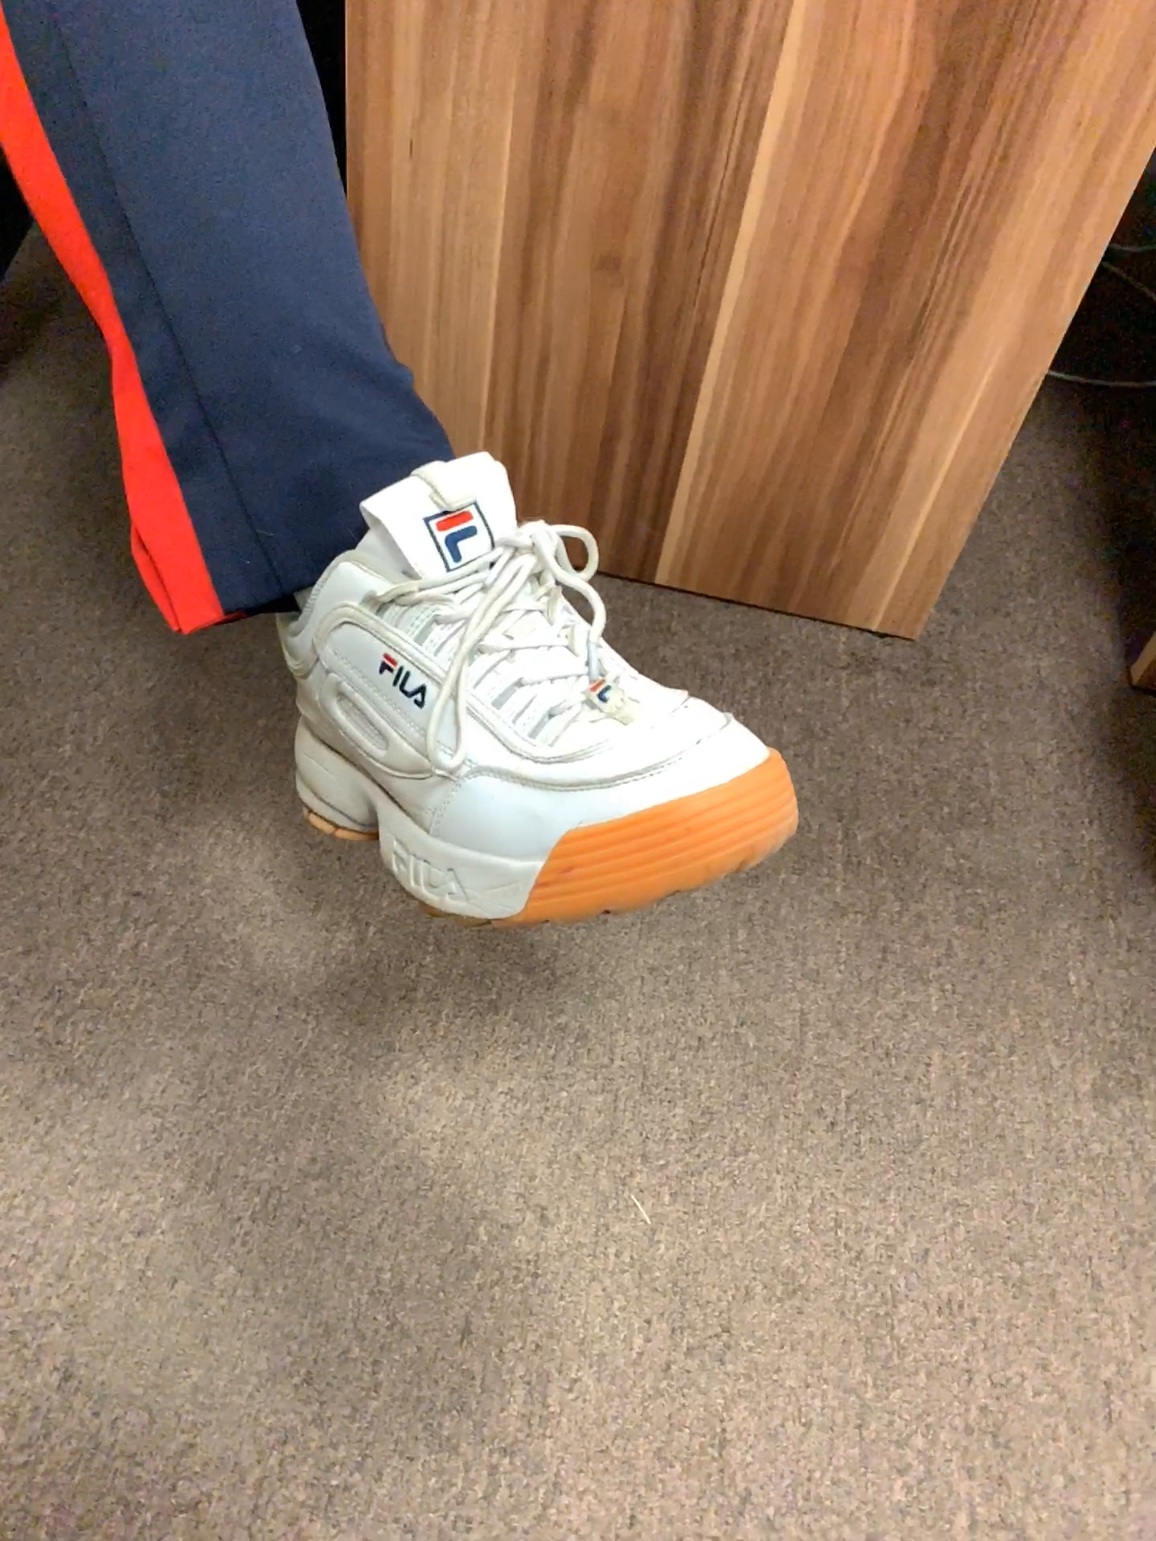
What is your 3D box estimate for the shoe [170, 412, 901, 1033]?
[{"bbox_3d":[-0.025,-0.040,0.428,0.130,0.130,0.230,-23,34,-36],"label":"shoe"}]
